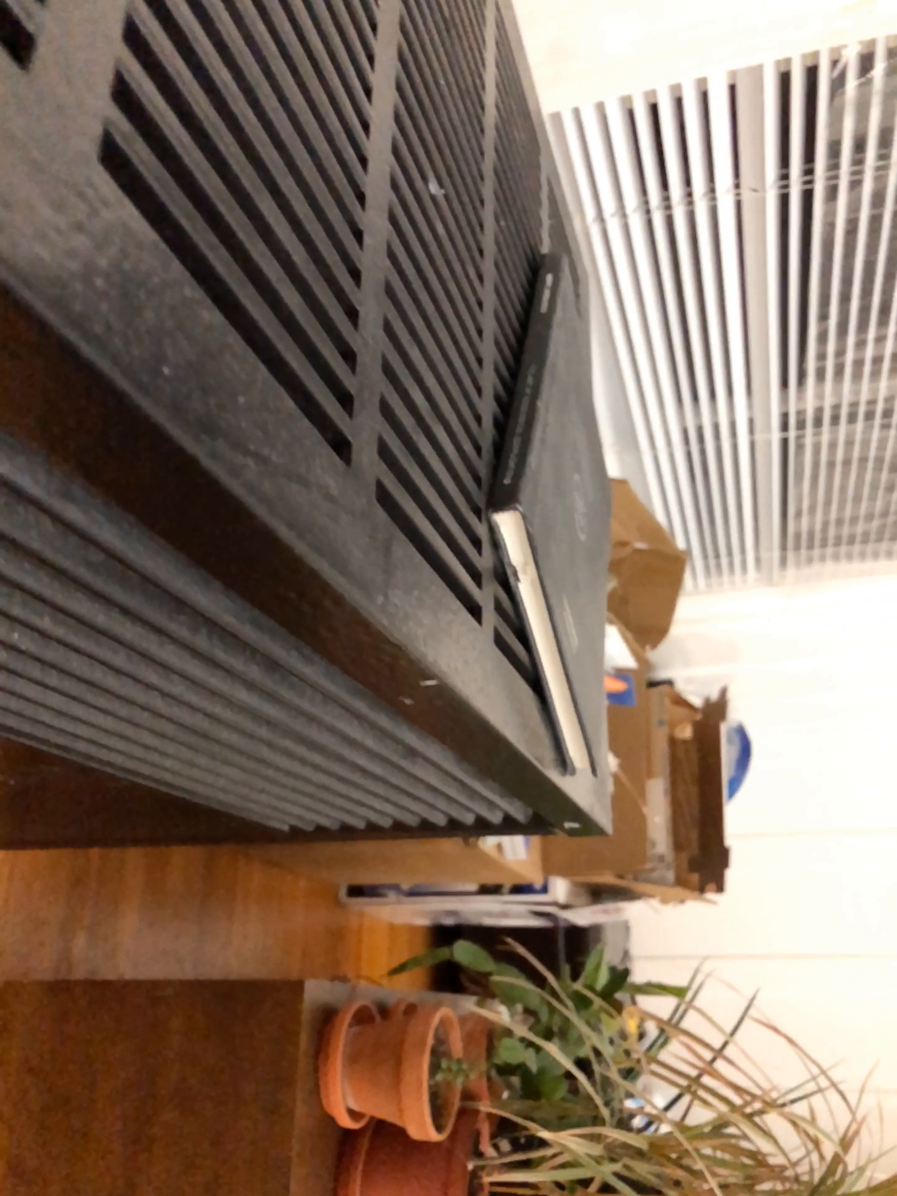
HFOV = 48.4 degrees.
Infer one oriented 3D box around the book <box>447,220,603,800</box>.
[{"bbox_3d":[0.048,-0.054,0.483,0.251,0.020,0.160,-78,156,-47],"label":"book"}]
